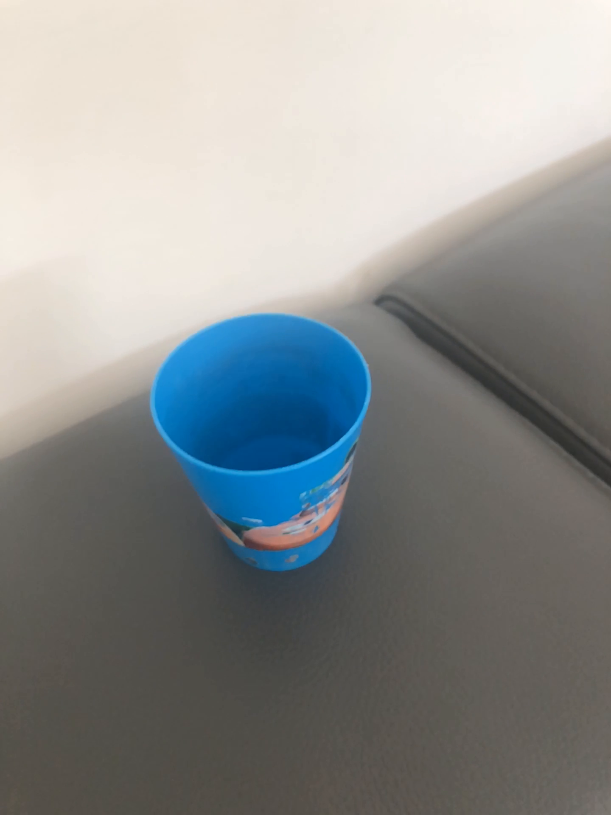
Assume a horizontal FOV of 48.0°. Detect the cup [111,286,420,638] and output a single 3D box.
[{"bbox_3d":[-0.015,0.022,0.281,0.080,0.089,0.080,0,49,0],"label":"cup"}]
